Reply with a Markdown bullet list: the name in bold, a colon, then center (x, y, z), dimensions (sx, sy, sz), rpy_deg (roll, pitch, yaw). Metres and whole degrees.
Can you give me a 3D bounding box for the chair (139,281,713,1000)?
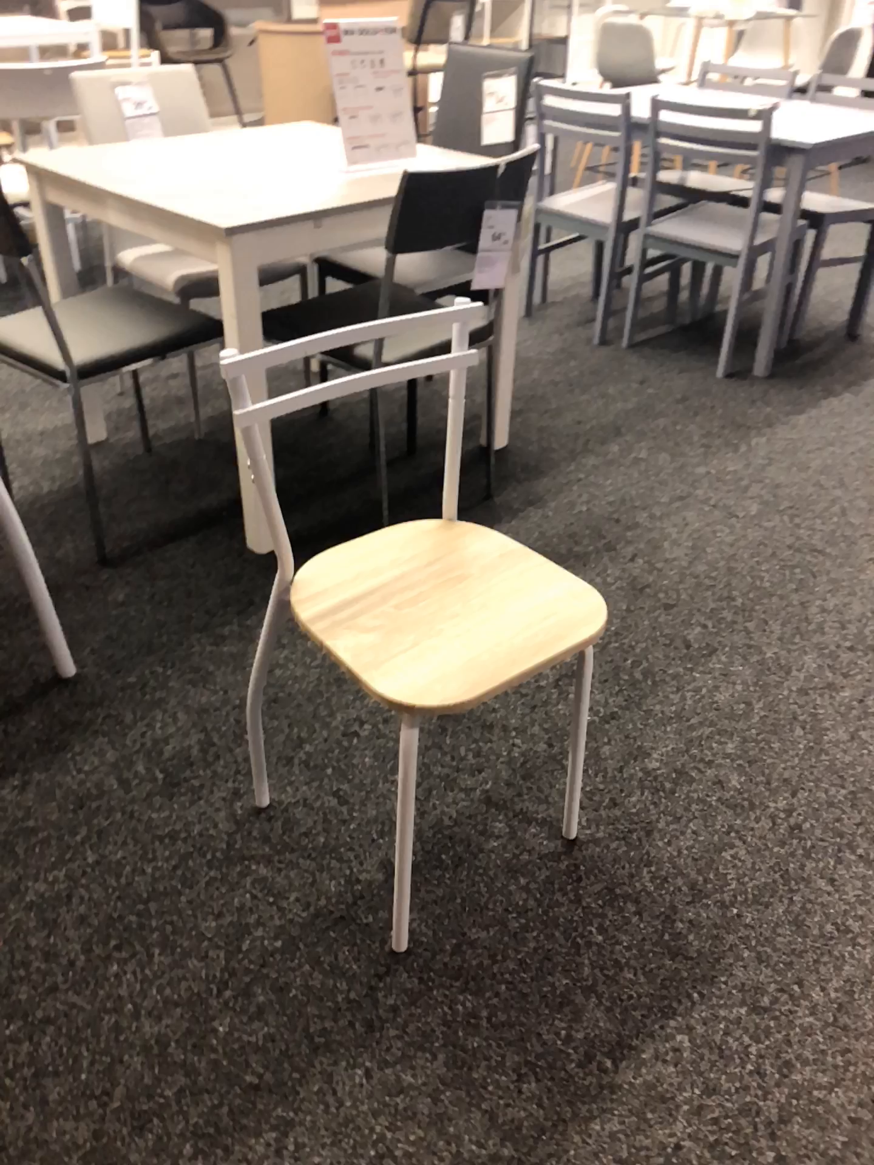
- **chair**: center (-0.017, 0.049, 1.309), dimensions (0.503, 0.726, 0.440), rpy_deg (-26, 42, -35)
